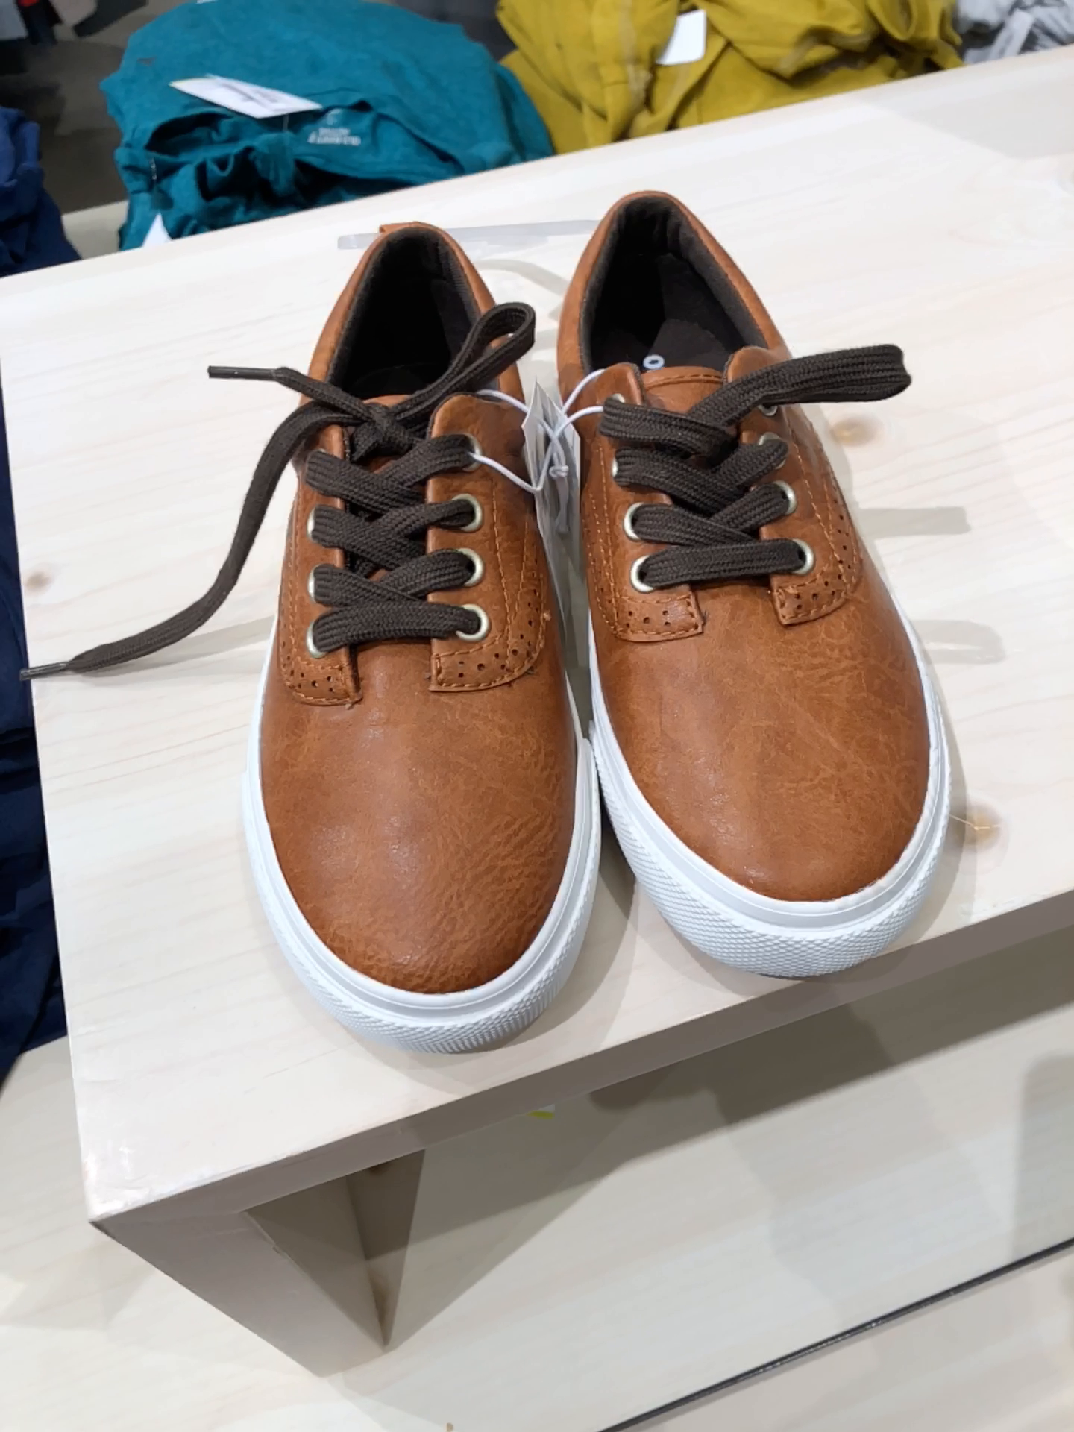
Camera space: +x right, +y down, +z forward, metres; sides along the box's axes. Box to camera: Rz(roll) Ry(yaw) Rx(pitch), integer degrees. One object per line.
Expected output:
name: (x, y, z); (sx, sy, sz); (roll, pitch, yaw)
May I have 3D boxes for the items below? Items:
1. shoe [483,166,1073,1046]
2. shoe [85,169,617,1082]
shoe: (0.044, -0.039, 0.299); (0.090, 0.080, 0.211); (-7, 53, -2)
shoe: (-0.034, -0.034, 0.304); (0.090, 0.090, 0.221); (-4, 53, 1)
